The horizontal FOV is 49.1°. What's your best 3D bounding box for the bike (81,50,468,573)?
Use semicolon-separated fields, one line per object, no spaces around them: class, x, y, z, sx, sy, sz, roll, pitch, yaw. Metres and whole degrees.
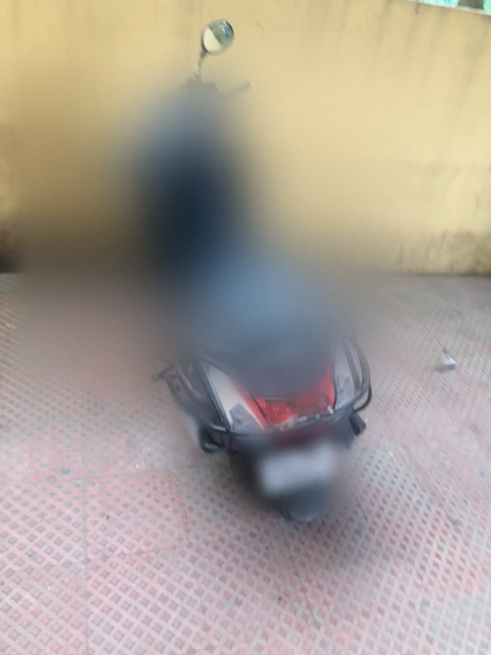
bike;-0.165;-0.239;1.884;0.593;1.044;1.592;-5;35;-22
